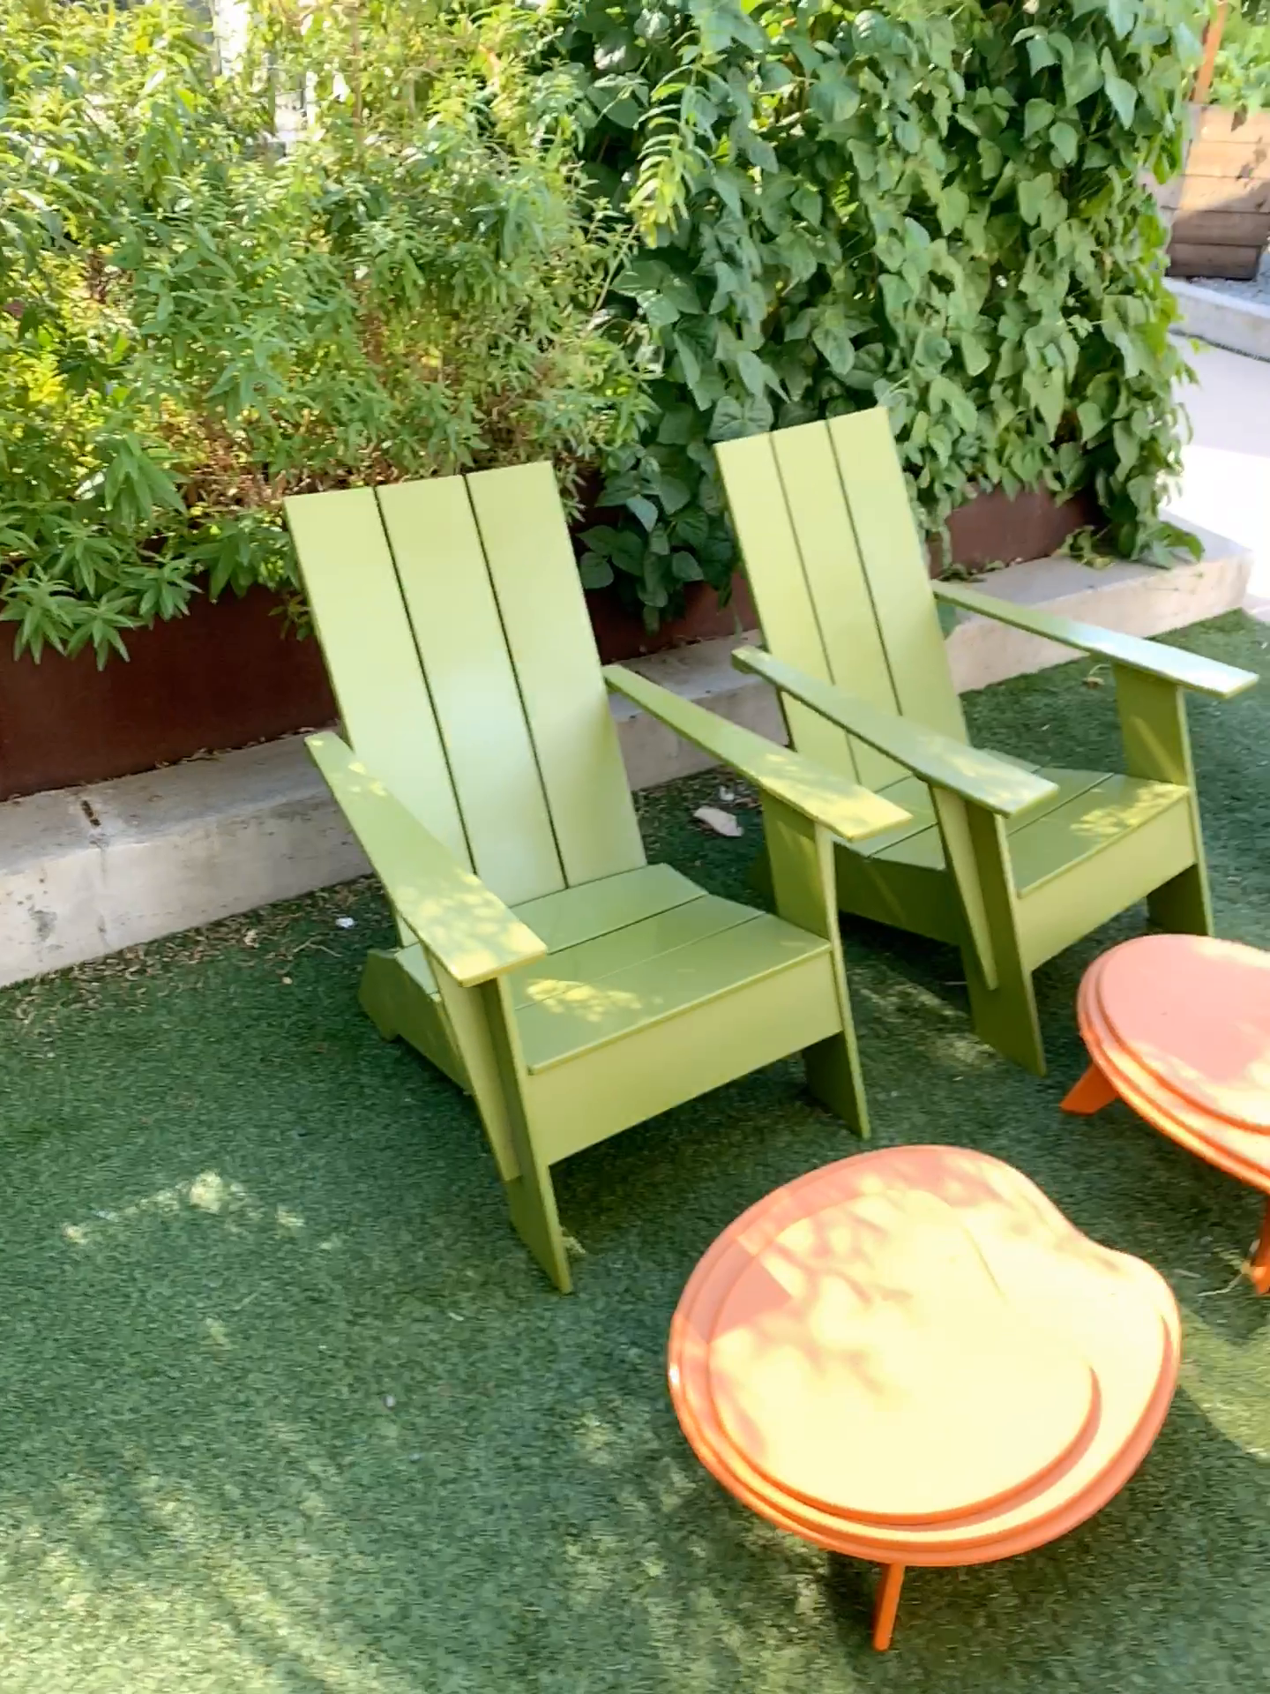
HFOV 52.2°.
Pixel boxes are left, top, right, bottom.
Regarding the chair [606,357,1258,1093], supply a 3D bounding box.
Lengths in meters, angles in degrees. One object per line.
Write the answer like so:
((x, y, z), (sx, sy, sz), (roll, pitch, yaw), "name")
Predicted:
((0.555, -0.280, 2.403), (0.731, 1.016, 0.822), (-22, 23, -30), "chair")

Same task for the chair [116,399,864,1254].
((-0.230, -0.126, 2.091), (0.771, 1.006, 0.822), (-18, 22, -29), "chair")
